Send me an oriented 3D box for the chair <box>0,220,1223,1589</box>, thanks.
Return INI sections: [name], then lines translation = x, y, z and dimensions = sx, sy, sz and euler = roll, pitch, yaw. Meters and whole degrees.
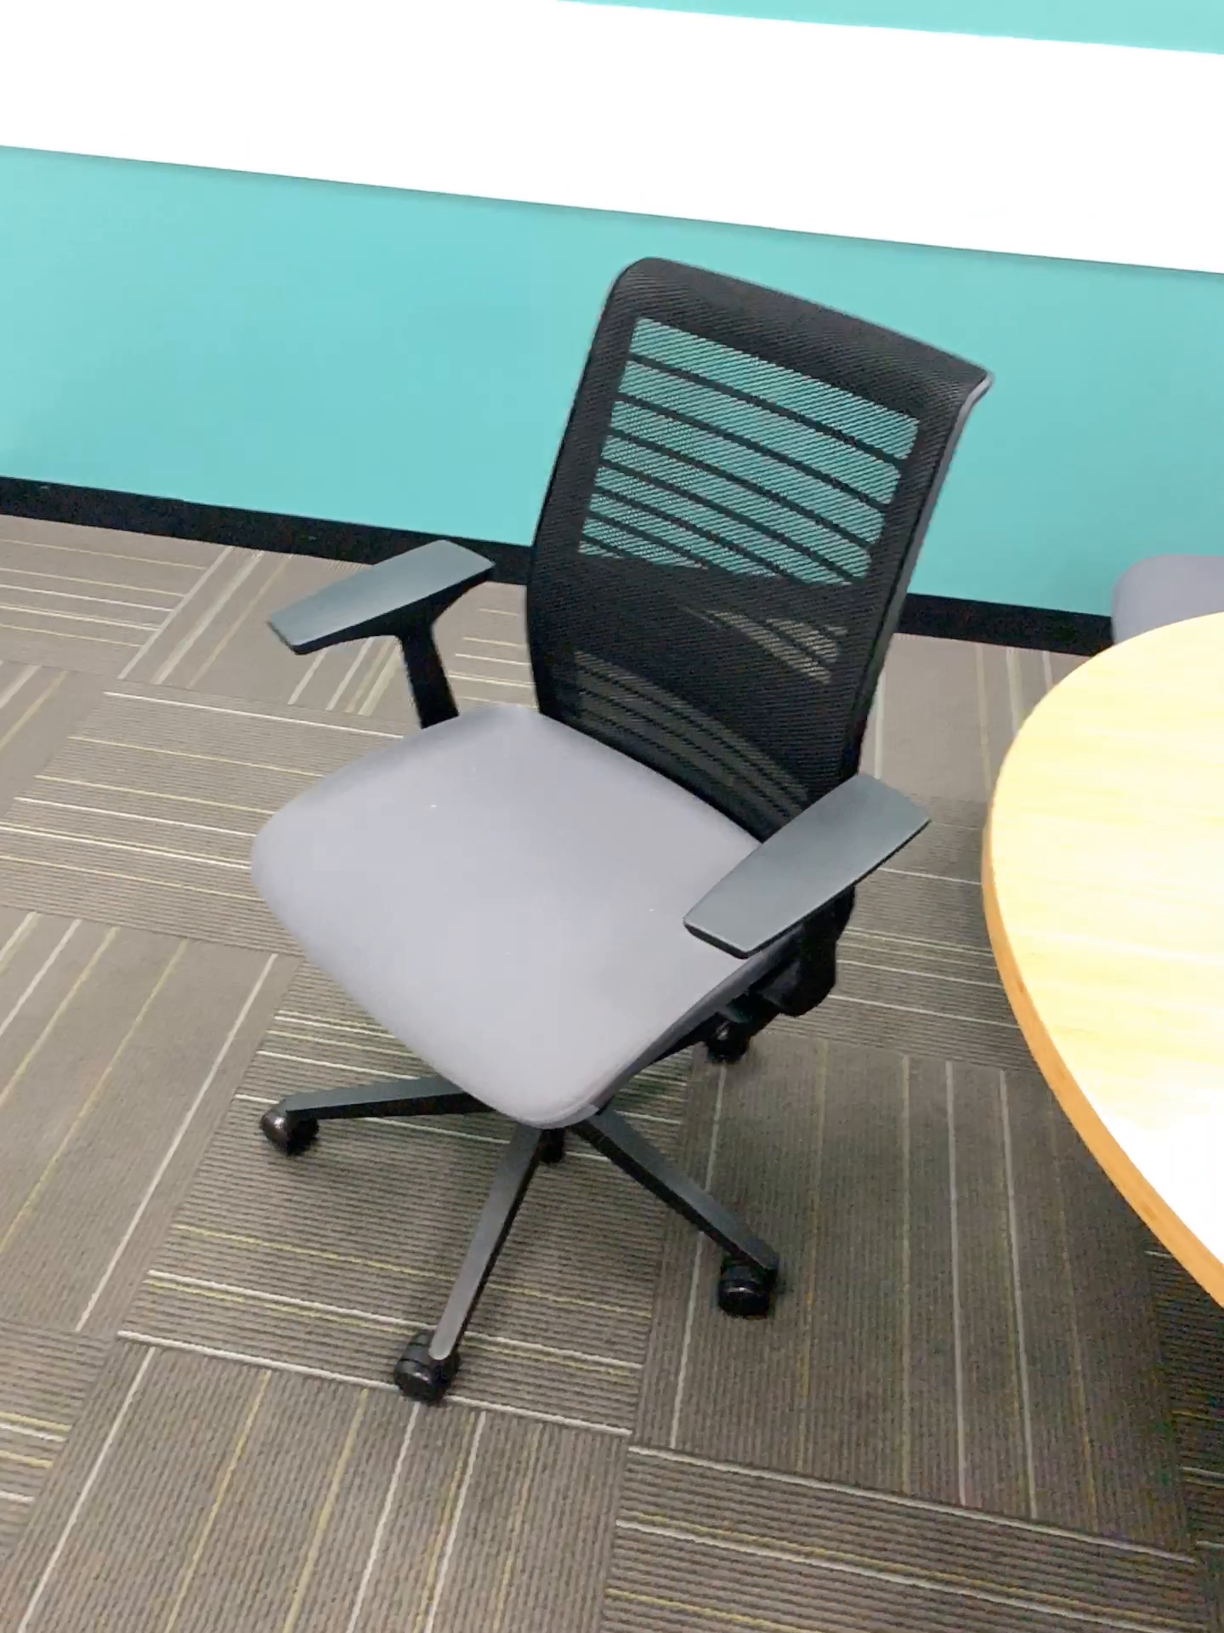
[chair]
translation = -0.008, 0.039, 1.365
dimensions = 0.732, 0.984, 0.842
euler = 30, 47, 27
